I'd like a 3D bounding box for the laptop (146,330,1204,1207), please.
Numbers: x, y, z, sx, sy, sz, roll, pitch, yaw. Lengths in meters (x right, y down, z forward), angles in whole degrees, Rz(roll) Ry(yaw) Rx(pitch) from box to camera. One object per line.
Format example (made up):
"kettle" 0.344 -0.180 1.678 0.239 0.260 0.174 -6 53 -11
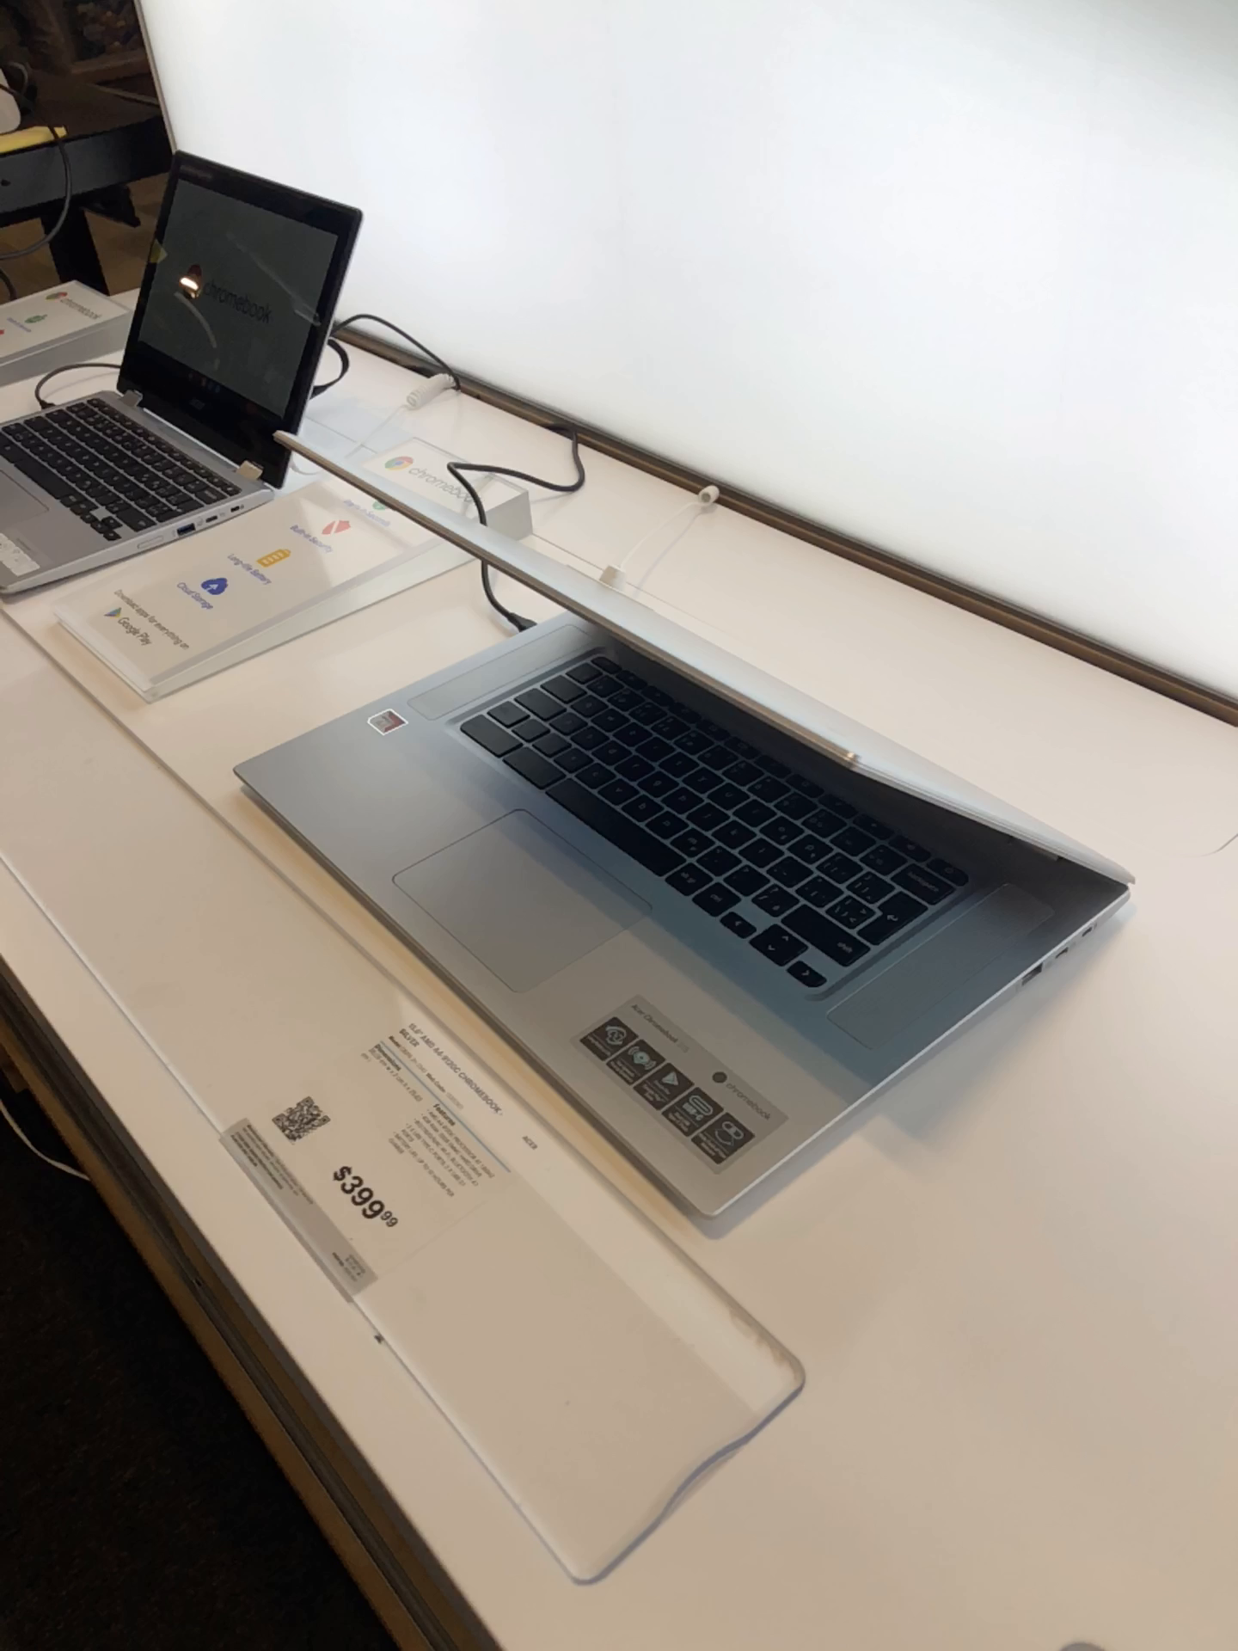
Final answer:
"laptop" 0.006 -0.066 0.606 0.255 0.166 0.369 -29 44 -28
